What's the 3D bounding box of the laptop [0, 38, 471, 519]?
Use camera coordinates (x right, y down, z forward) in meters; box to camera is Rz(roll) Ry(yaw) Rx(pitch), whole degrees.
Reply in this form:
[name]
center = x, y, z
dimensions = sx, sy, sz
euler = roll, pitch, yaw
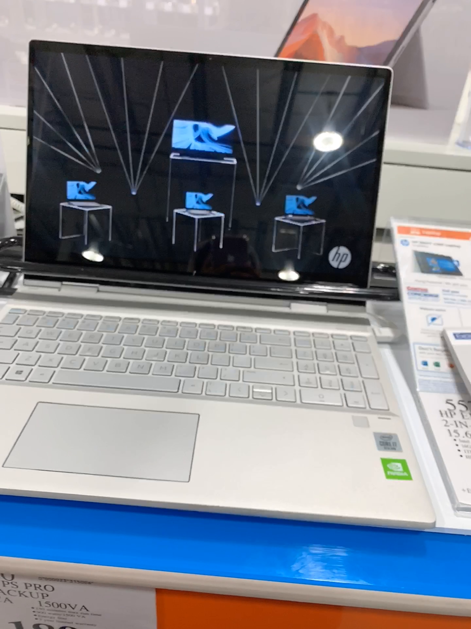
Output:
[laptop]
center = -0.039, -0.069, 0.379
dimensions = 0.346, 0.210, 0.341
euler = 4, 32, -1
